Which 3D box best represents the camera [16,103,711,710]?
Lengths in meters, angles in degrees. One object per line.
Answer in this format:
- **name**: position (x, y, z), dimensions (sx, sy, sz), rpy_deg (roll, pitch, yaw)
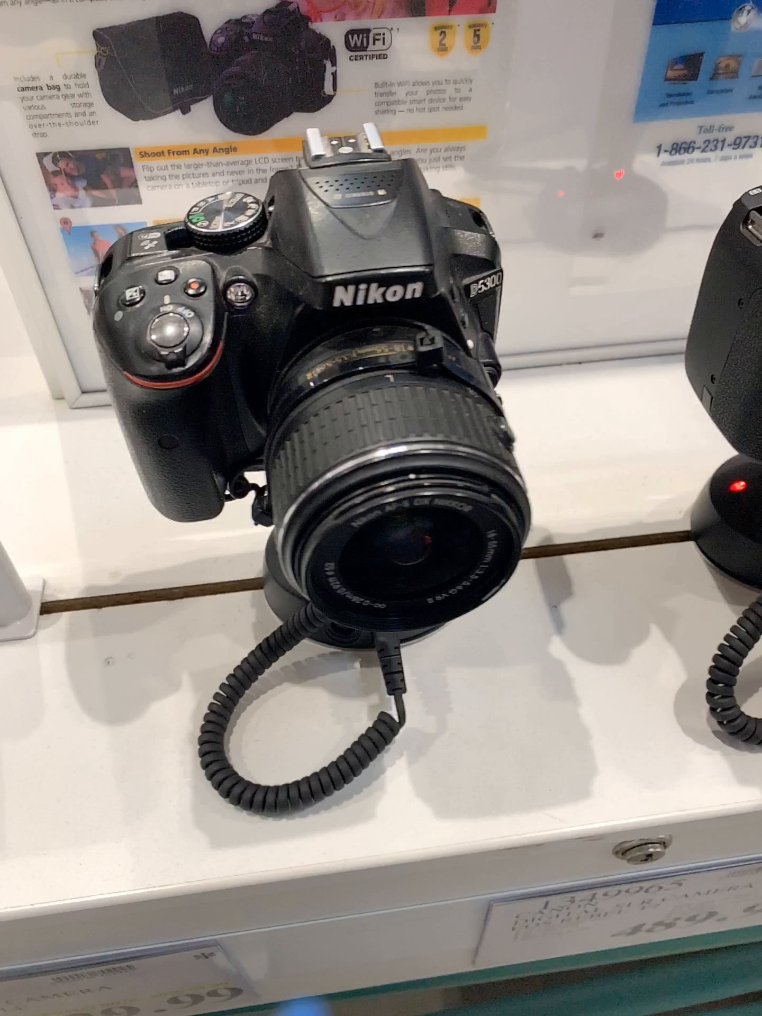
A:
- **camera**: position (-0.014, -0.039, 0.207), dimensions (0.120, 0.069, 0.141), rpy_deg (-9, 47, -8)
